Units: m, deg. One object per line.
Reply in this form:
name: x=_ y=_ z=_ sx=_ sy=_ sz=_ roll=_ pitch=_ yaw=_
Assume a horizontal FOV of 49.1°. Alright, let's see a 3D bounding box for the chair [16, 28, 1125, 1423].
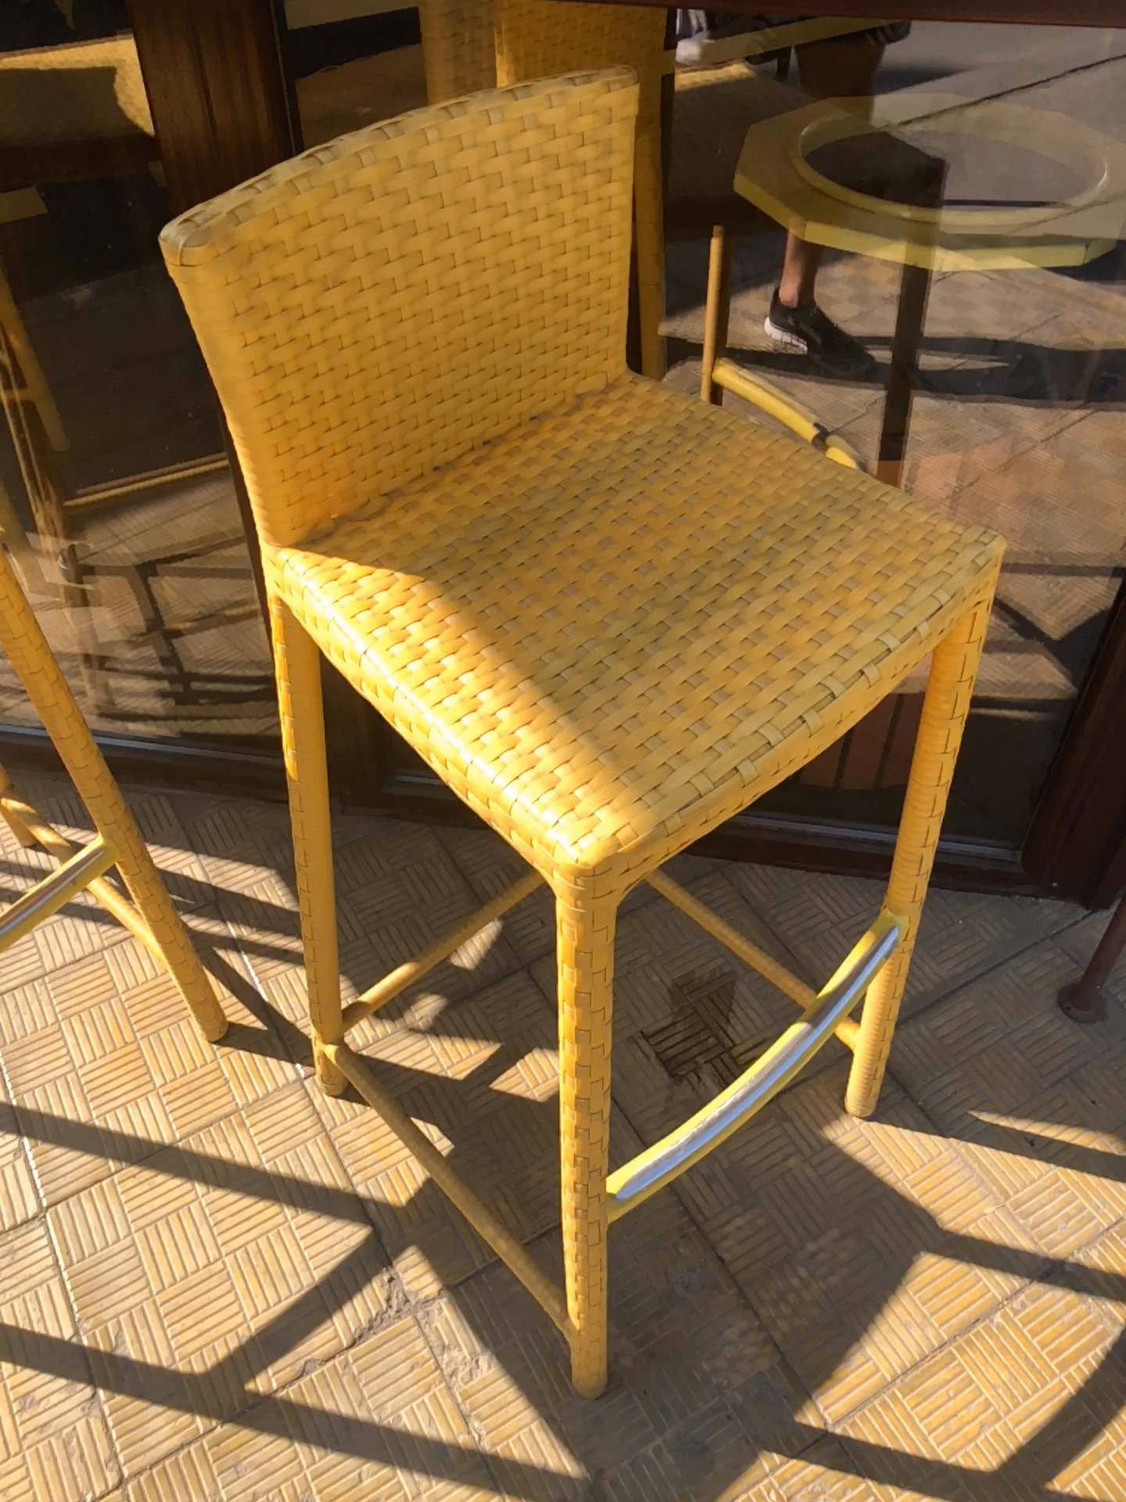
chair: x=0.034 y=0.020 z=1.021 sx=0.481 sy=0.916 sz=0.521 roll=-34 pitch=54 yaw=-29
